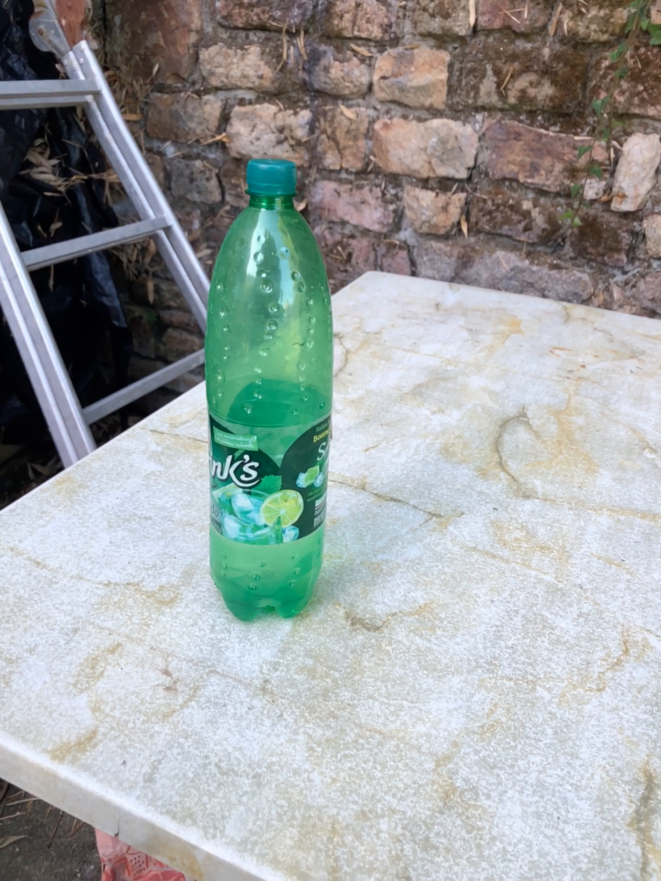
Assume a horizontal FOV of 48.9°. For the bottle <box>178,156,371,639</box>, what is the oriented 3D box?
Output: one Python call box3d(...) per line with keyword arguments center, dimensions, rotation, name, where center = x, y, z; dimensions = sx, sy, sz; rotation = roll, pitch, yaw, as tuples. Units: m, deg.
box3d(center=(-0.041, -0.021, 0.492), dimensions=(0.090, 0.308, 0.090), rotation=(2, 29, -1), name="bottle")
